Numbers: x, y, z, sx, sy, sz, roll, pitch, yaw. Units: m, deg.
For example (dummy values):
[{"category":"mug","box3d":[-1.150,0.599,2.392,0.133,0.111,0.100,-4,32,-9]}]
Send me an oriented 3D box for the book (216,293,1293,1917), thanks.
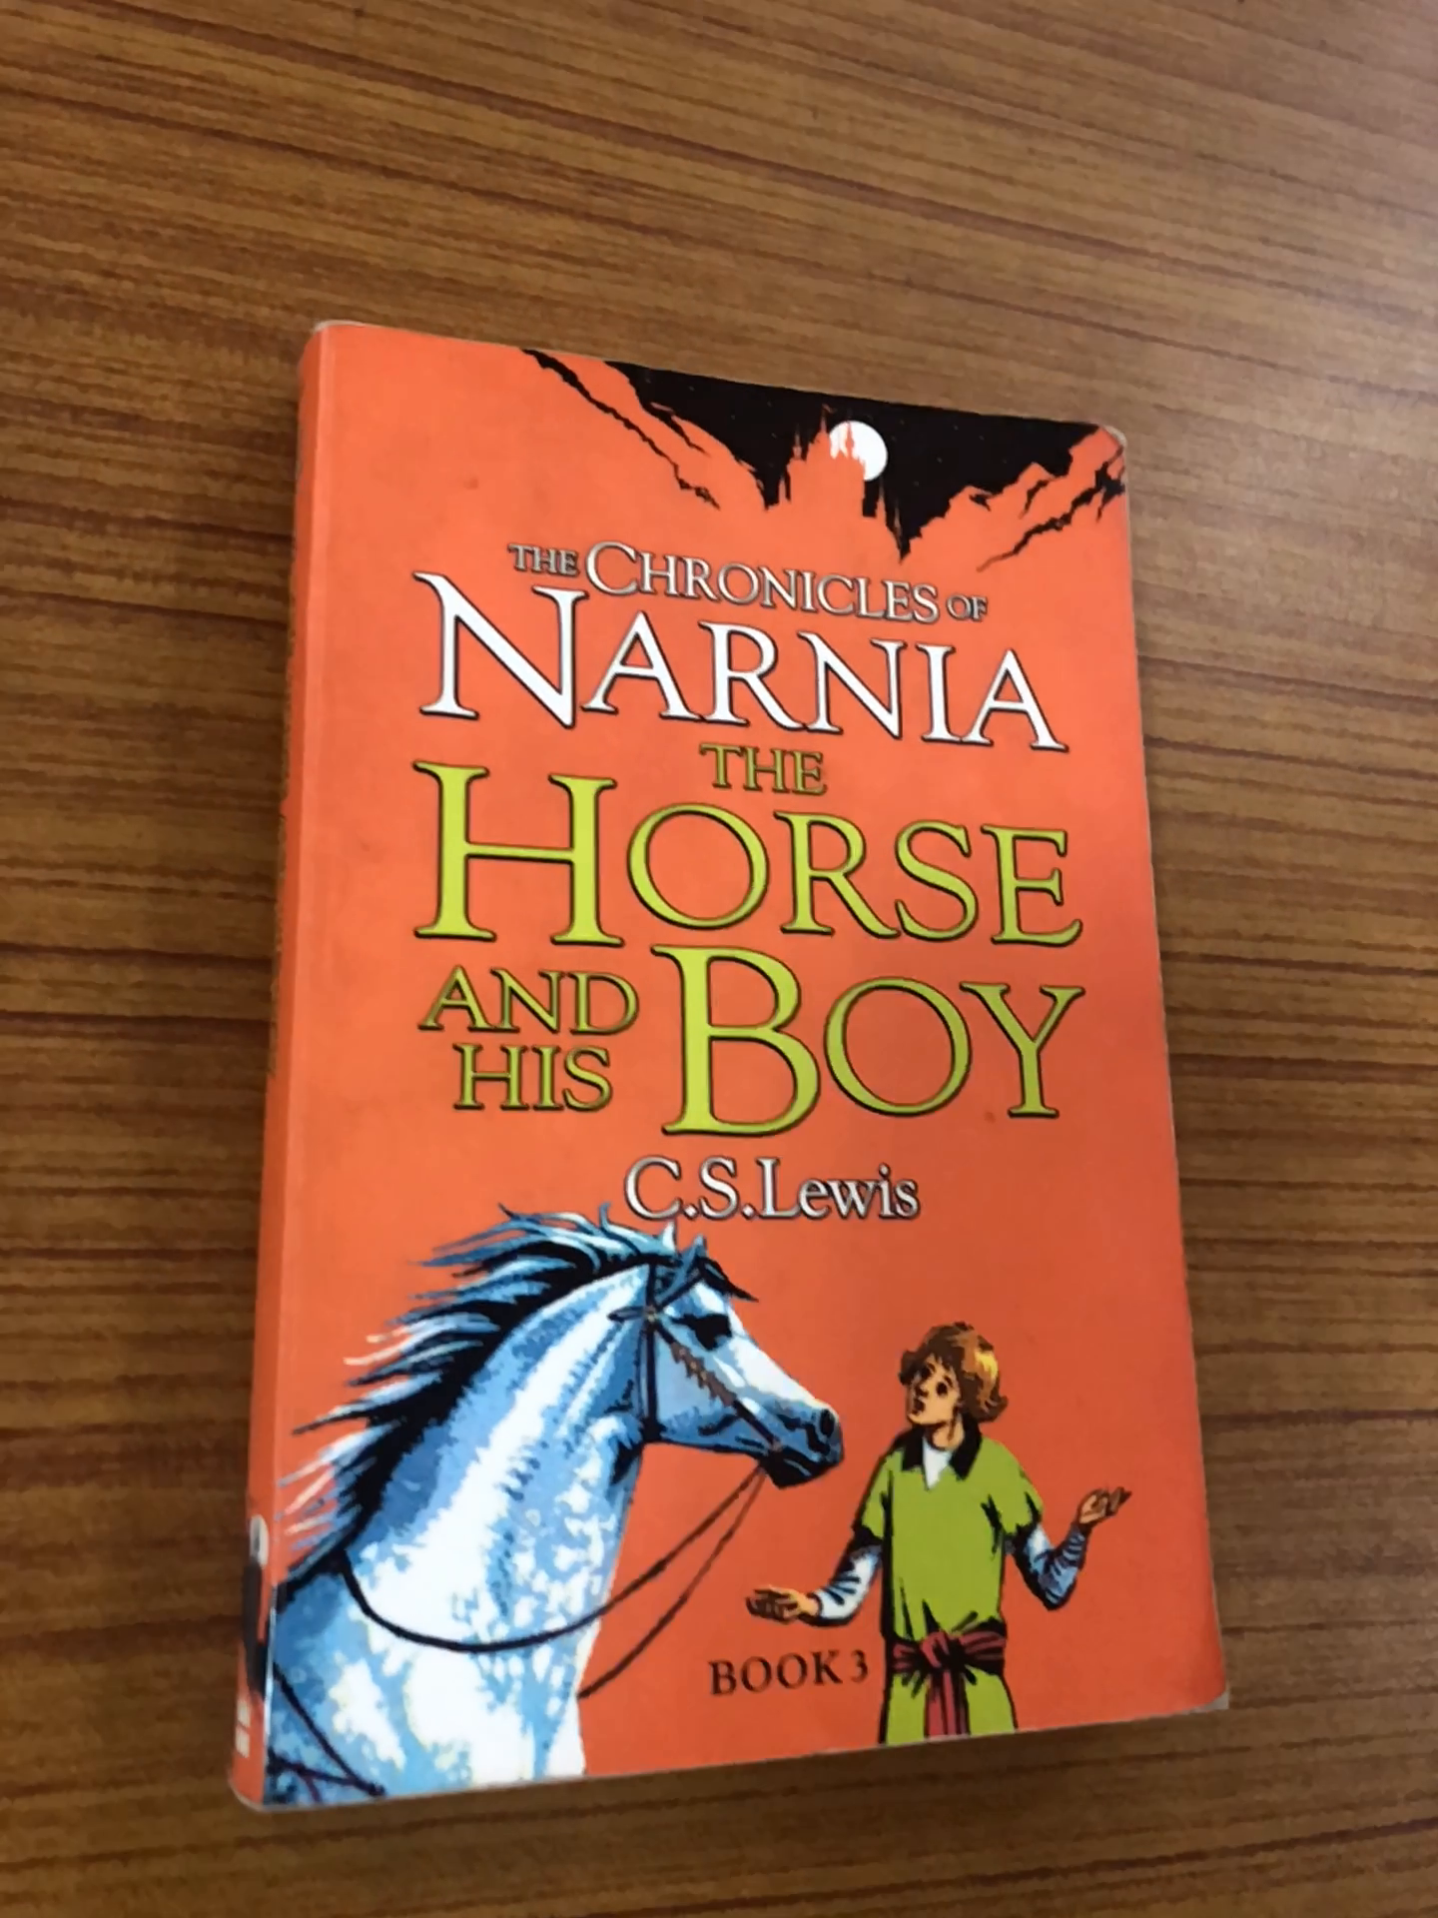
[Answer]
[{"category":"book","box3d":[0.005,0.014,0.220,0.130,0.030,0.190,3,76,-18]}]
